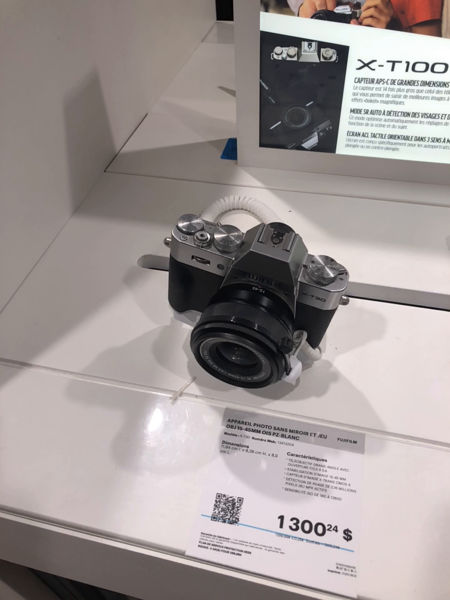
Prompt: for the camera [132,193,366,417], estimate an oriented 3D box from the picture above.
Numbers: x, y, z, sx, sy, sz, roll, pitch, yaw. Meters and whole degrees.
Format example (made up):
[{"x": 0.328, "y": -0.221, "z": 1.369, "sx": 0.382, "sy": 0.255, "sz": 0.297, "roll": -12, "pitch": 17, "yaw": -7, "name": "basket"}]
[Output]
[{"x": 0.017, "y": 0.002, "z": 0.356, "sx": 0.130, "sy": 0.089, "sz": 0.091, "roll": 17, "pitch": 49, "yaw": 12, "name": "camera"}]
